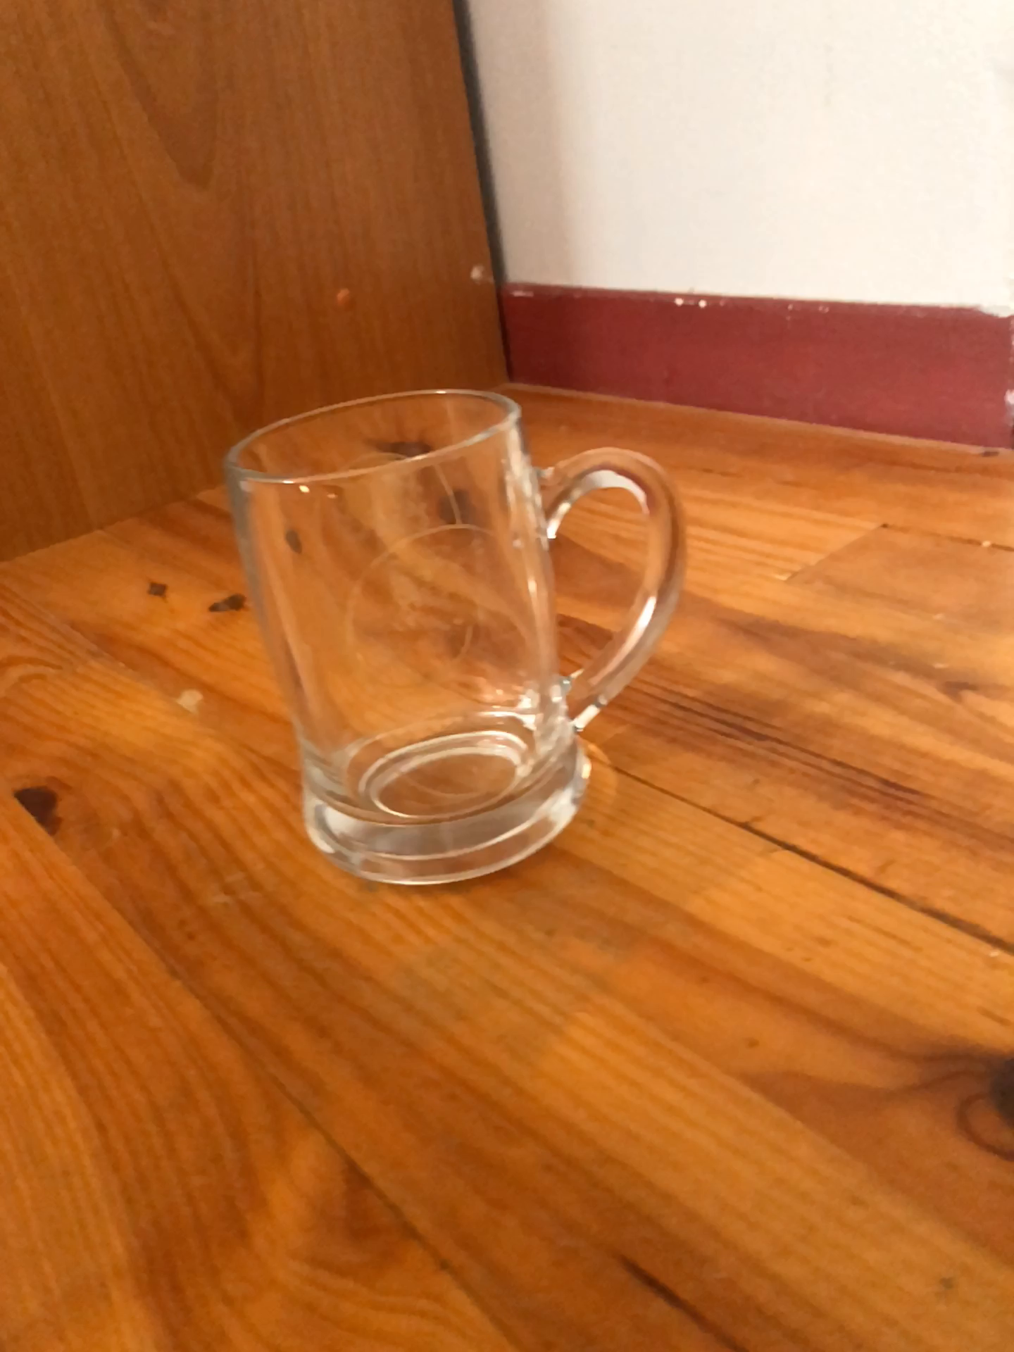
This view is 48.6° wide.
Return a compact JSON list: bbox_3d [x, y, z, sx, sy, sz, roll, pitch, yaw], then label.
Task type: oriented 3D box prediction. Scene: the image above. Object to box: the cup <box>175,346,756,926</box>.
[{"bbox_3d":[-0.011,-0.017,0.314,0.128,0.110,0.091,-13,28,-7],"label":"cup"}]
